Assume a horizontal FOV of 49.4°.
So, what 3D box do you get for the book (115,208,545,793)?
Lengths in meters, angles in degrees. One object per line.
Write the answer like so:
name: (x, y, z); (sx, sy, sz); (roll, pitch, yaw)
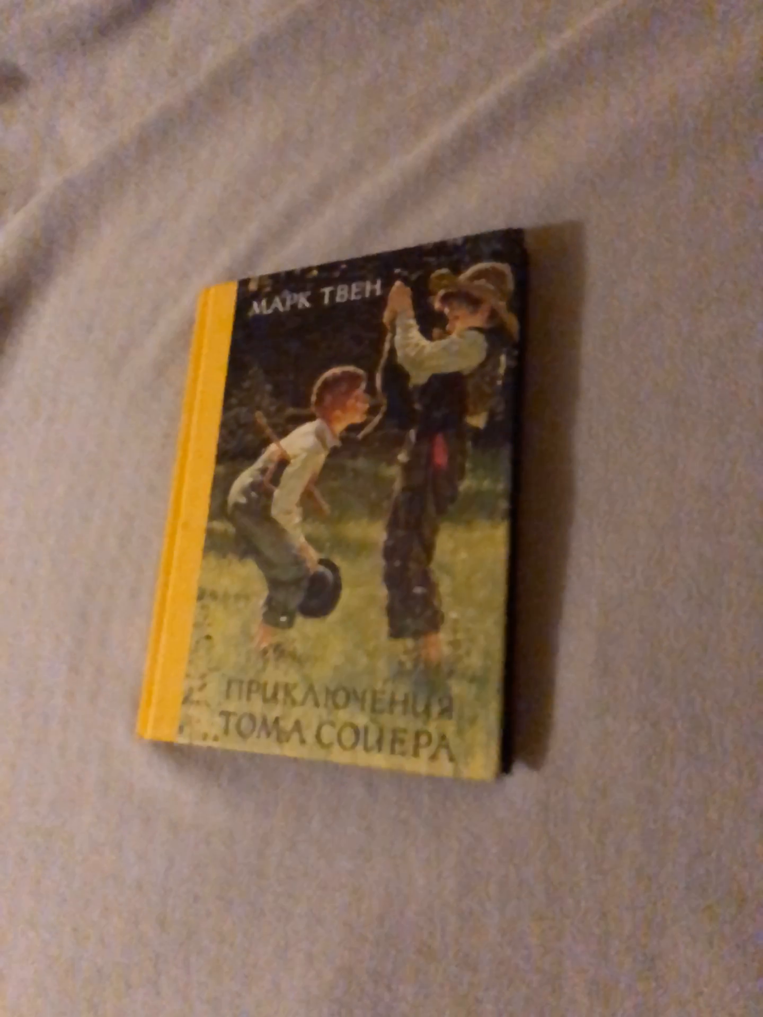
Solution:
book: (-0.022, -0.006, 0.358); (0.171, 0.030, 0.225); (-2, 75, 27)
